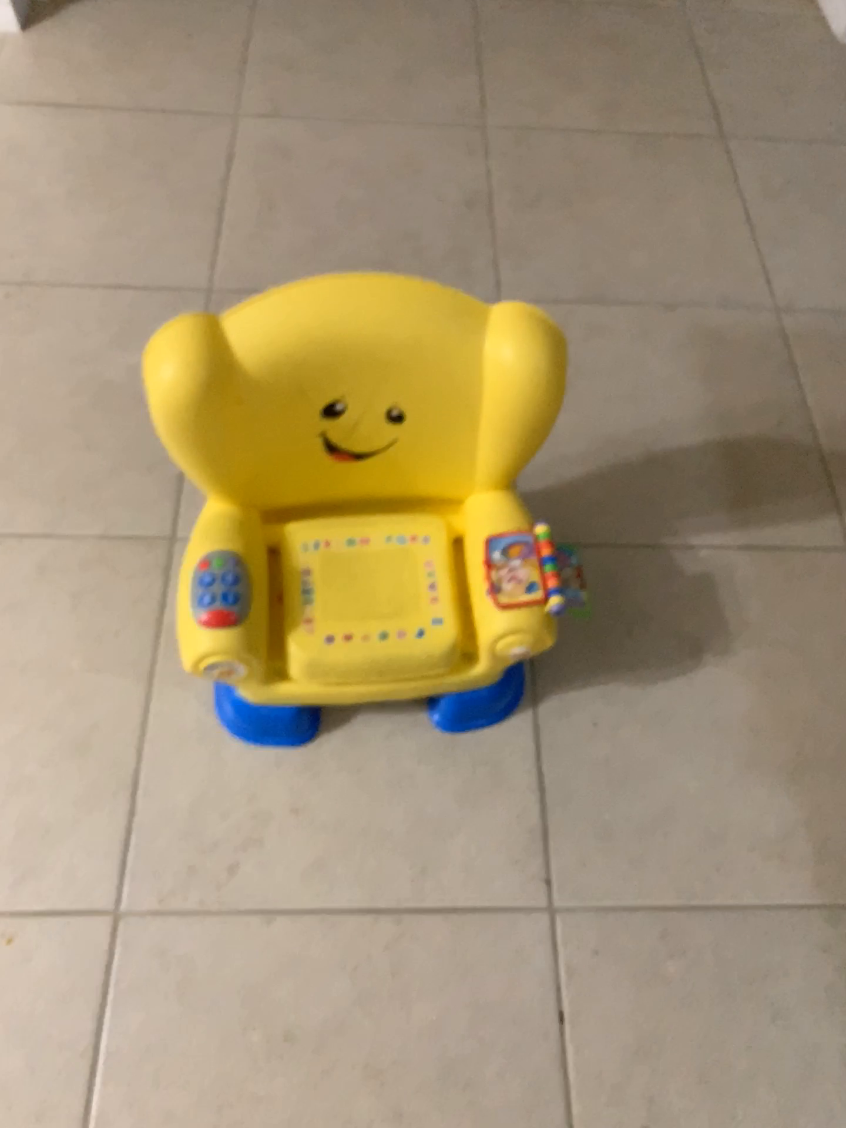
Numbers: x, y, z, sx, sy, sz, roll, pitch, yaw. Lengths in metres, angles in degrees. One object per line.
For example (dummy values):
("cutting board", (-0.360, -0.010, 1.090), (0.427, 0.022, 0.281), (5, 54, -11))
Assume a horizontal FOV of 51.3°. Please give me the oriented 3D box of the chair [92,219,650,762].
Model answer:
("chair", (-0.062, -0.051, 0.967), (0.420, 0.486, 0.373), (-2, 60, -5))
